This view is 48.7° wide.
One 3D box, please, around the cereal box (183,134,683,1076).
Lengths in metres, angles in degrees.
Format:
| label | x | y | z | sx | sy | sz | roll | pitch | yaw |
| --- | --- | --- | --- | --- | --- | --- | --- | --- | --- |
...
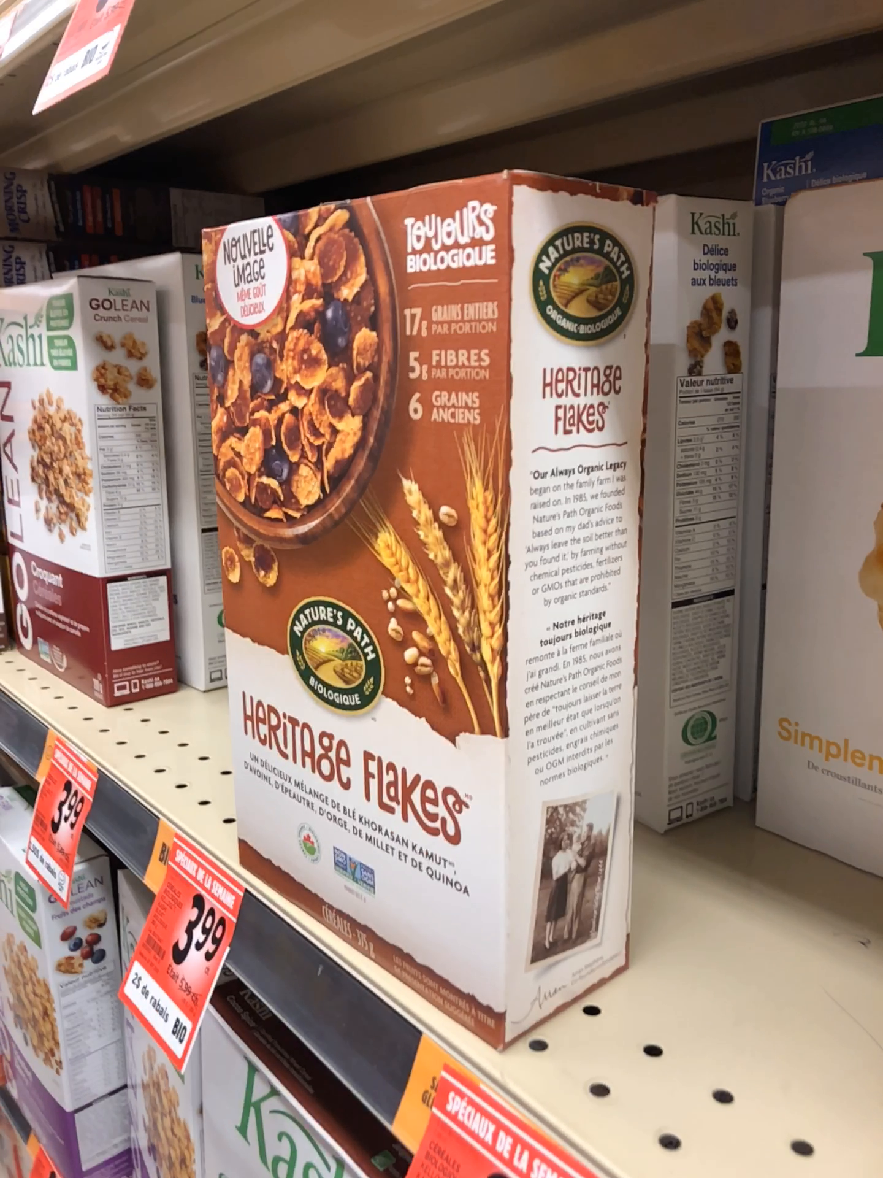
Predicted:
| label | x | y | z | sx | sy | sz | roll | pitch | yaw |
| --- | --- | --- | --- | --- | --- | --- | --- | --- | --- |
| cereal box | -0.010 | -0.002 | 0.346 | 0.070 | 0.259 | 0.170 | -12 | 17 | -39 |
